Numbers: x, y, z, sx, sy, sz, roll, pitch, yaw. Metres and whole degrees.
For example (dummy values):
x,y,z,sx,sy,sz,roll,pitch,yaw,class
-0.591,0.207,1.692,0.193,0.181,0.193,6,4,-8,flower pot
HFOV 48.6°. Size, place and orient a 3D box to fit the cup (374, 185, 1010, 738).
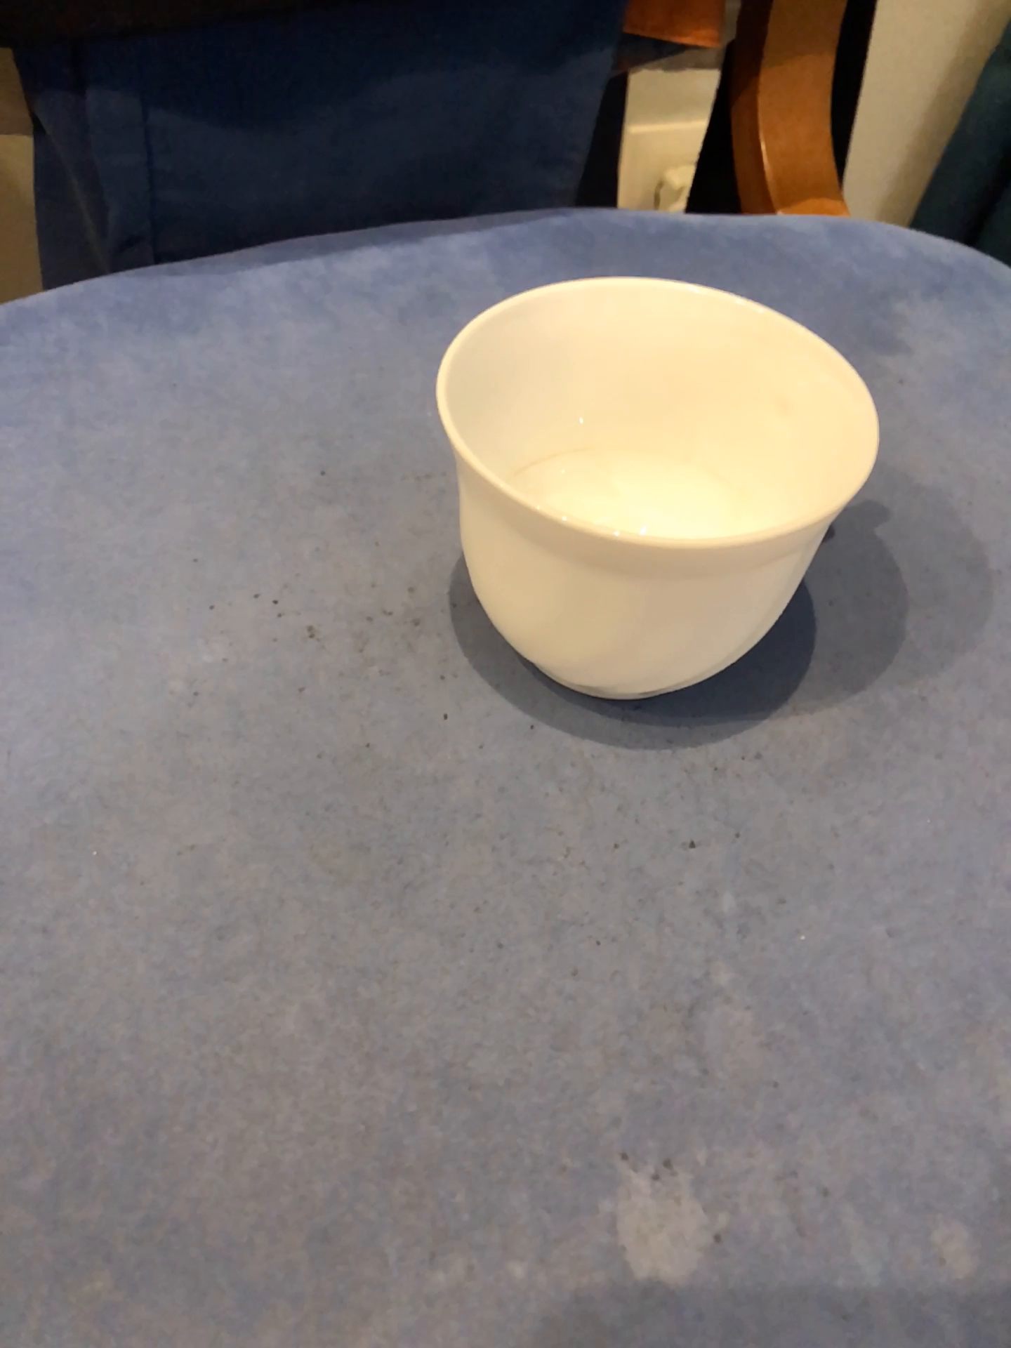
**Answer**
x,y,z,sx,sy,sz,roll,pitch,yaw,class
0.044,-0.050,0.233,0.120,0.050,0.080,-18,54,-20,cup
